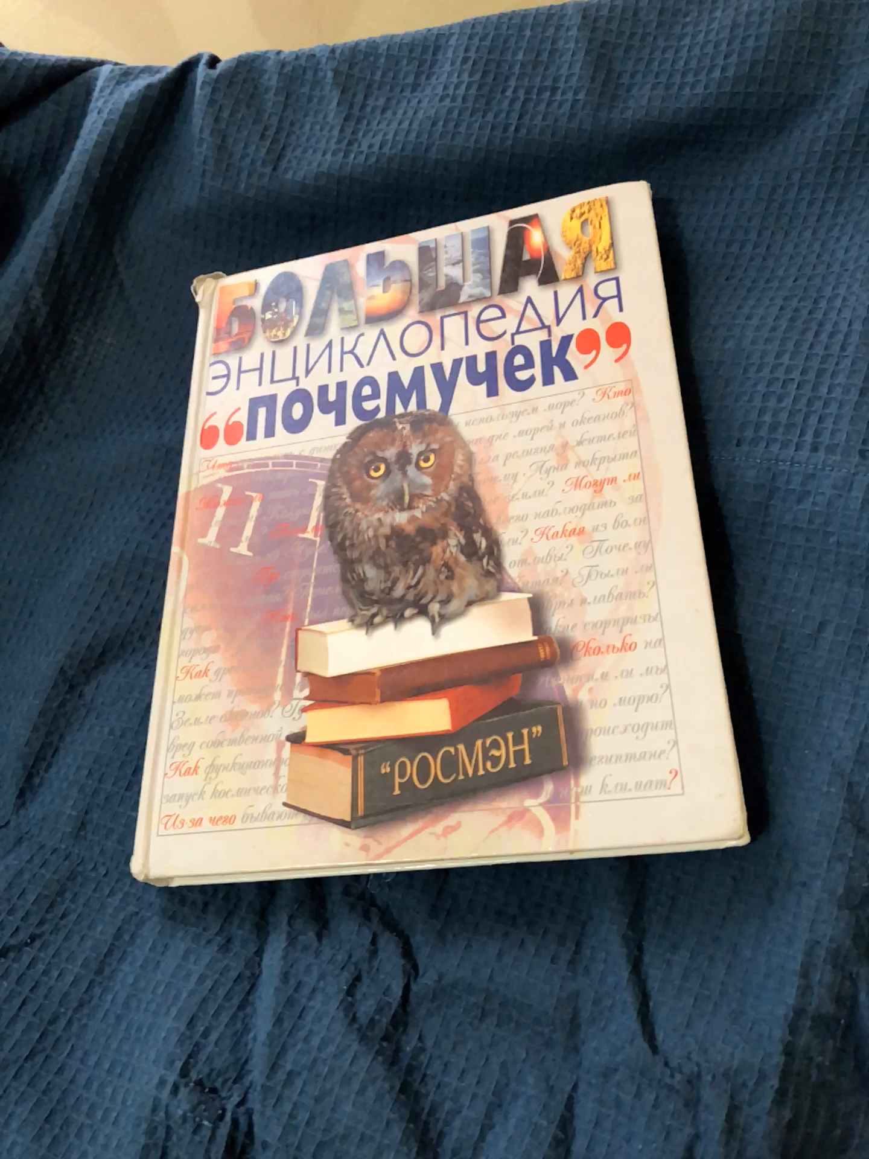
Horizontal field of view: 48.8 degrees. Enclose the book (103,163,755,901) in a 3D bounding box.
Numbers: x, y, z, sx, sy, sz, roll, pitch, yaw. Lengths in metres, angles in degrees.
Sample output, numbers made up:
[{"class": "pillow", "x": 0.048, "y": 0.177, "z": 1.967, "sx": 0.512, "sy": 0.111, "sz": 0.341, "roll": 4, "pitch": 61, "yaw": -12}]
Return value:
[{"class": "book", "x": -0.010, "y": -0.030, "z": 0.410, "sx": 0.235, "sy": 0.030, "sz": 0.305, "roll": -8, "pitch": 63, "yaw": 14}]
